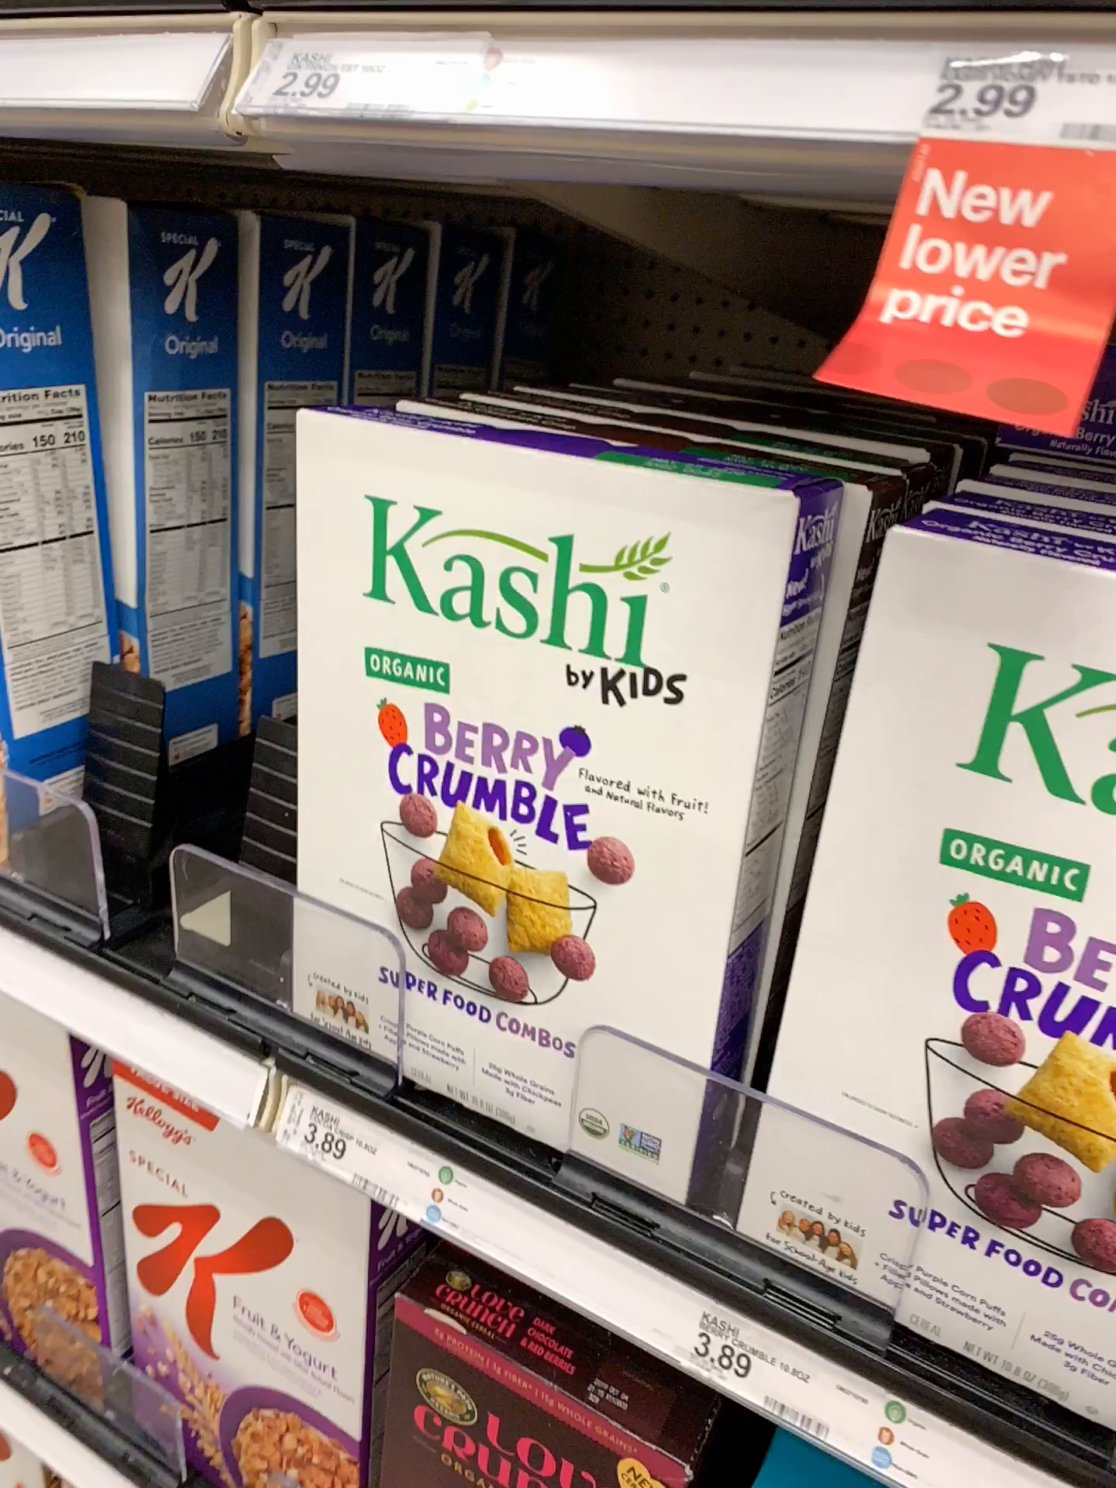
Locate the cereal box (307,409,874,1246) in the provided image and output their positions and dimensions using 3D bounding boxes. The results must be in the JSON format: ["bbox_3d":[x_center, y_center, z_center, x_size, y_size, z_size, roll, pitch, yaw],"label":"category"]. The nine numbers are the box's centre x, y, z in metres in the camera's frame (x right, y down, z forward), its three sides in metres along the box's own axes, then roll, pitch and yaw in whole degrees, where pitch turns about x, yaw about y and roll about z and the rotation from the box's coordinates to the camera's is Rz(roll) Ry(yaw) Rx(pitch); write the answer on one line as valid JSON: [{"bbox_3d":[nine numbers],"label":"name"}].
[{"bbox_3d":[-0.005,0.030,0.443,0.190,0.279,0.050,17,25,25],"label":"cereal box"}]
